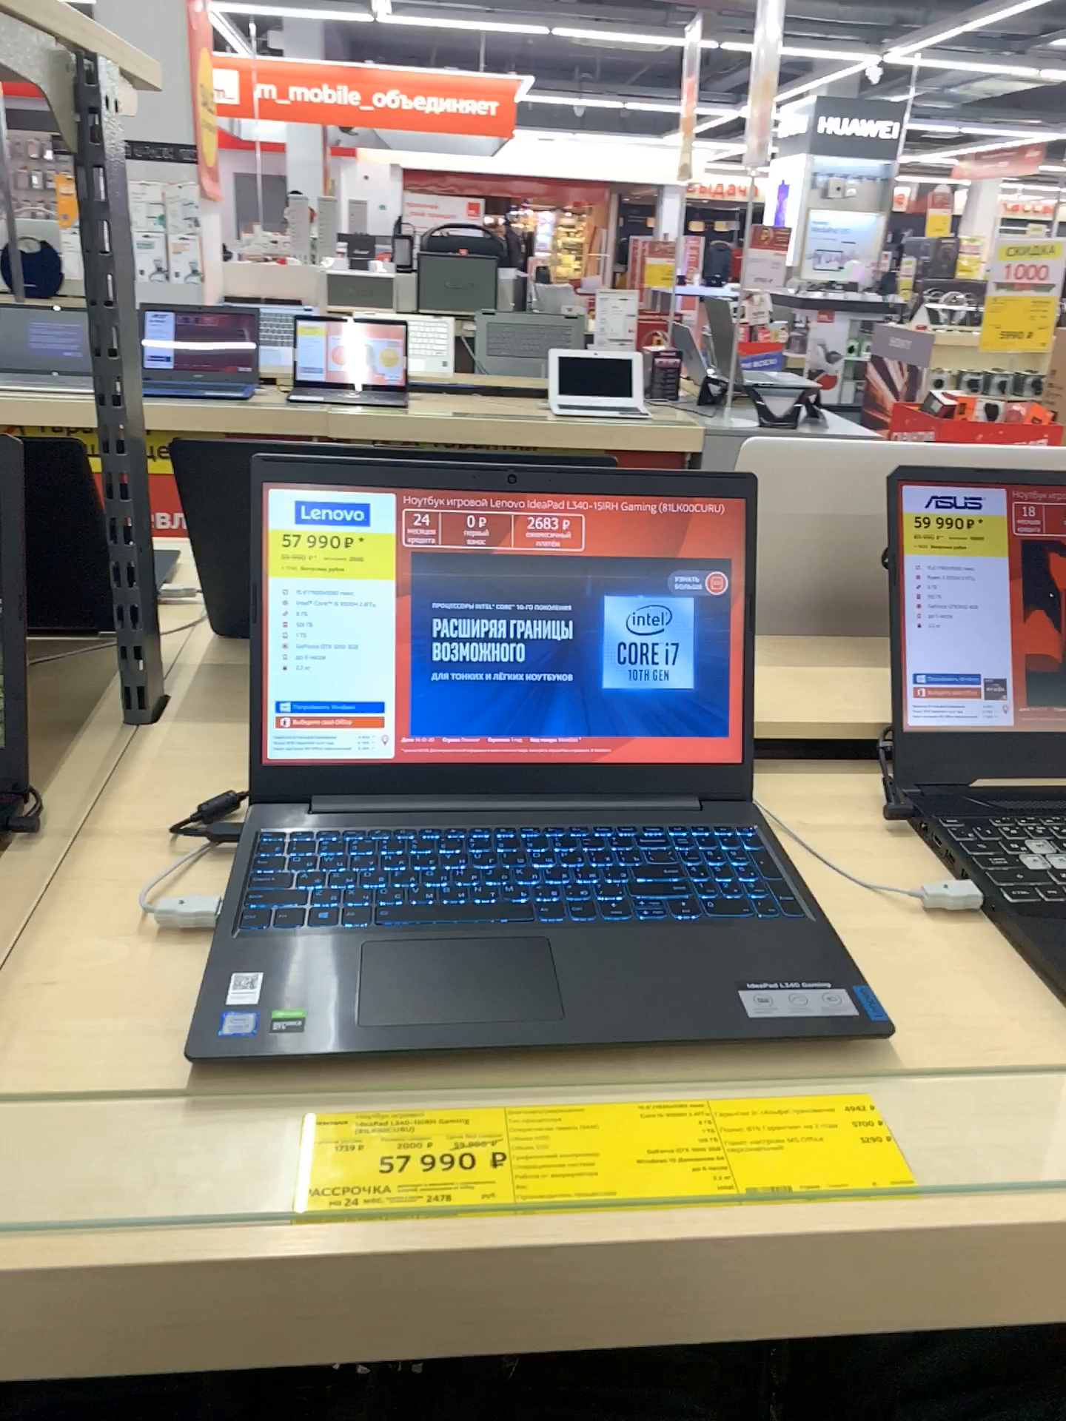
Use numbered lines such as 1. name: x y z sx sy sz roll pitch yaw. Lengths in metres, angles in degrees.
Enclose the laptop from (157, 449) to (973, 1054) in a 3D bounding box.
1. laptop: -0.004 -0.007 0.670 0.357 0.223 0.349 0 24 -8
